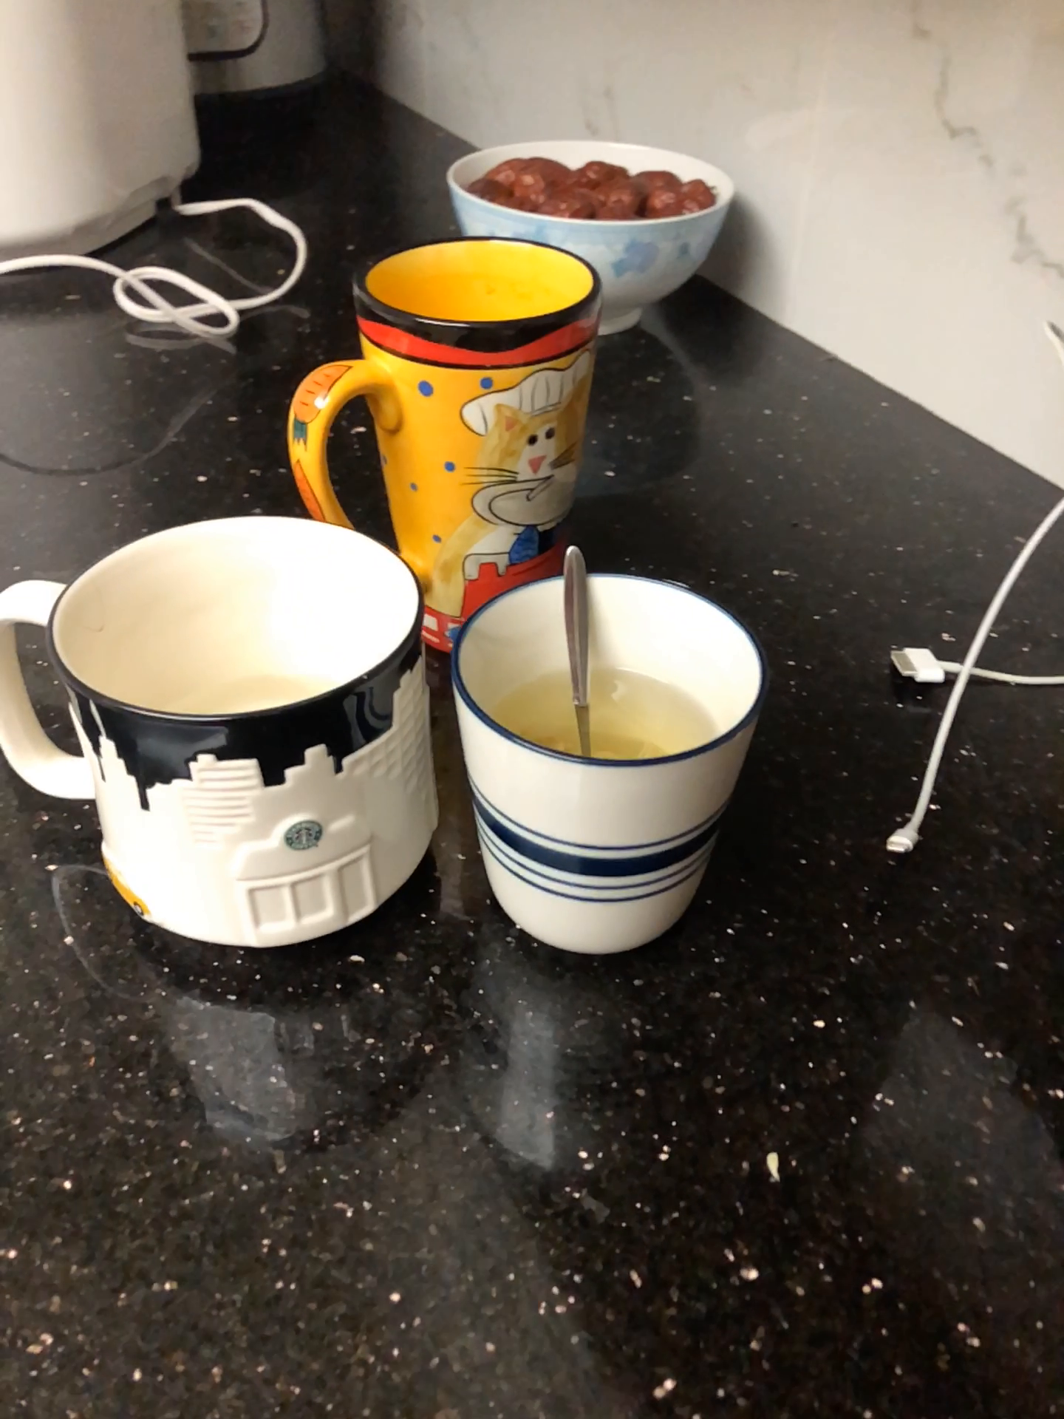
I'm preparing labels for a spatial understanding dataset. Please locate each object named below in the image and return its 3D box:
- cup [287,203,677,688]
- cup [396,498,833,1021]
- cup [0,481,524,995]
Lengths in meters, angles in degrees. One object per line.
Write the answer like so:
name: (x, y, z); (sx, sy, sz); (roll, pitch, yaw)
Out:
cup: (-0.018, -0.098, 0.426); (0.100, 0.129, 0.080); (-27, 47, -31)
cup: (0.027, 0.008, 0.349); (0.080, 0.080, 0.121); (18, 42, 19)
cup: (-0.093, 0.000, 0.366); (0.150, 0.070, 0.121); (13, 41, 13)
